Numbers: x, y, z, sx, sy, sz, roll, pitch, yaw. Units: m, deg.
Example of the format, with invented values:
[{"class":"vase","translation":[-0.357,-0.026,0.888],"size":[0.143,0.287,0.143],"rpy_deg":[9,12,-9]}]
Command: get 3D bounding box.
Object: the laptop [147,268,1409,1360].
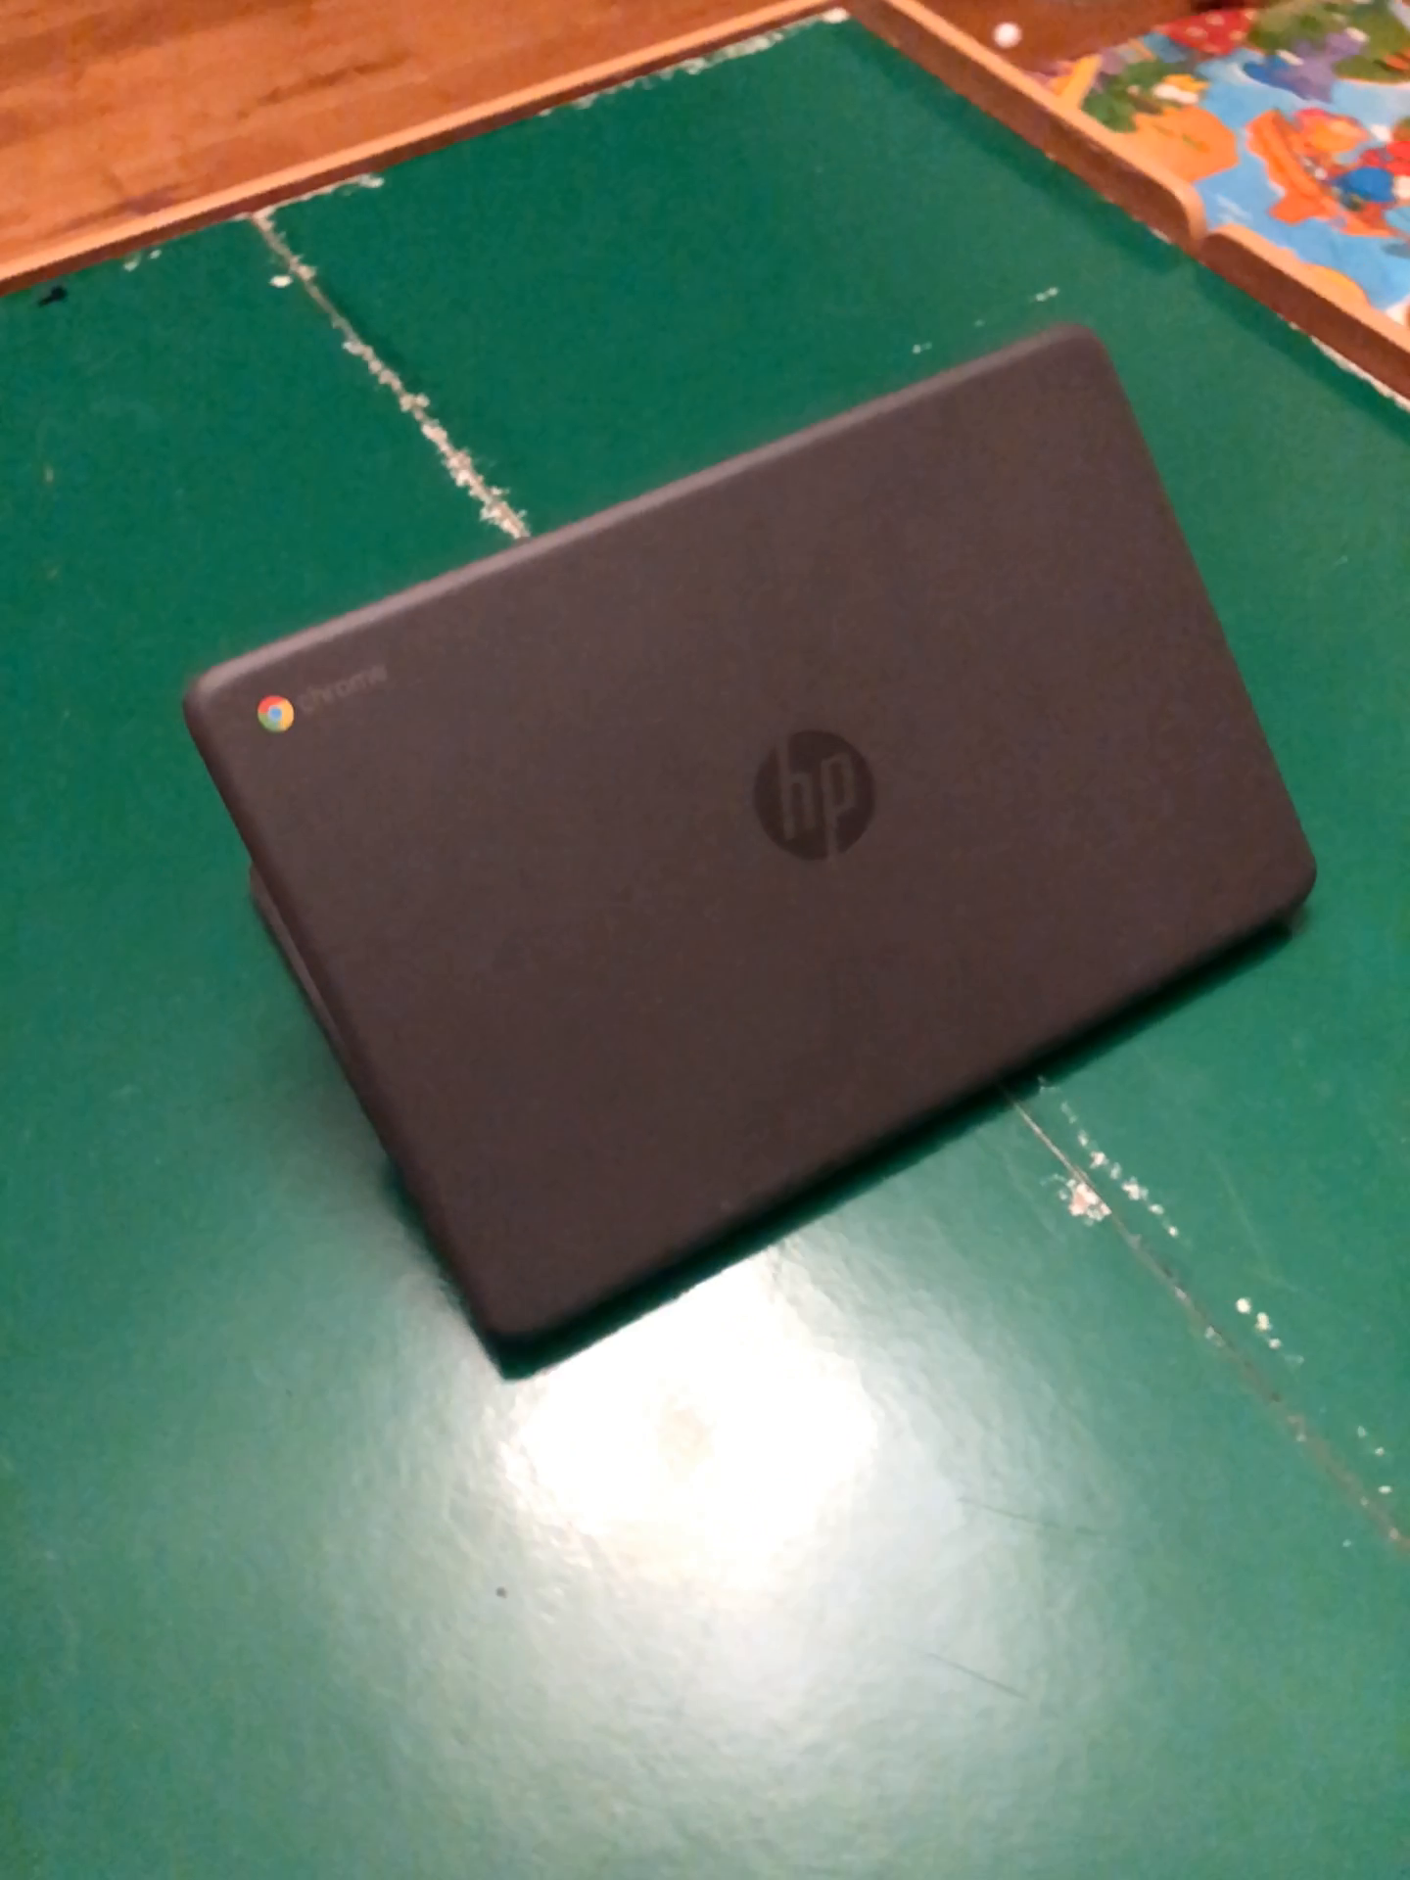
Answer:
[{"class":"laptop","translation":[0.025,-0.055,0.507],"size":[0.316,0.144,0.208],"rpy_deg":[-26,57,-15]}]
